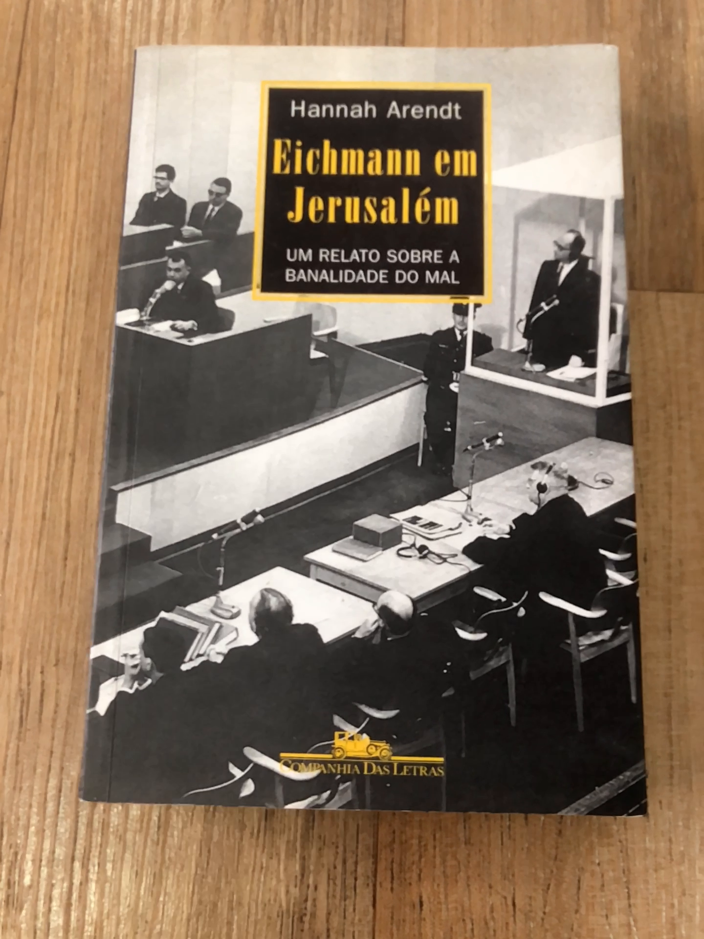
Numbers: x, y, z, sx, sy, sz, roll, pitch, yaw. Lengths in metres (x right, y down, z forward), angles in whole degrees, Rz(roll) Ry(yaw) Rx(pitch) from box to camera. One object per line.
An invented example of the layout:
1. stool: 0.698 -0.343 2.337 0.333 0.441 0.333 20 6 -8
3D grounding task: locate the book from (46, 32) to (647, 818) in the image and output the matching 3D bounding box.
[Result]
1. book: 0.001 -0.017 0.215 0.140 0.030 0.200 1 81 0
